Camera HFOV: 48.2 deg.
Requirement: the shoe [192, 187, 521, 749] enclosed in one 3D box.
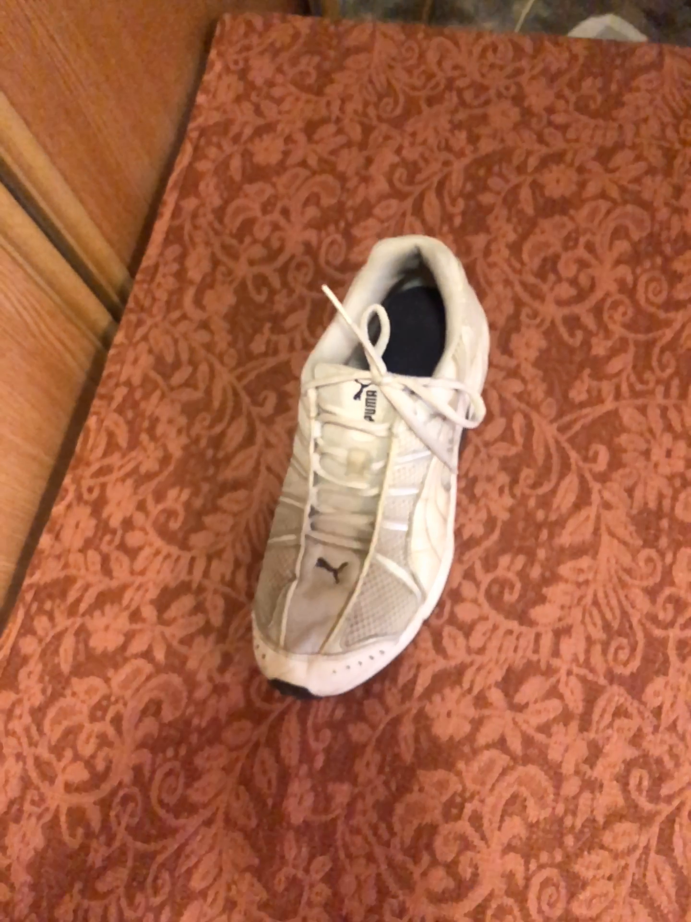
[{"bbox_3d":[0.020,0.001,0.442,0.100,0.100,0.290,11,72,13],"label":"shoe"}]
